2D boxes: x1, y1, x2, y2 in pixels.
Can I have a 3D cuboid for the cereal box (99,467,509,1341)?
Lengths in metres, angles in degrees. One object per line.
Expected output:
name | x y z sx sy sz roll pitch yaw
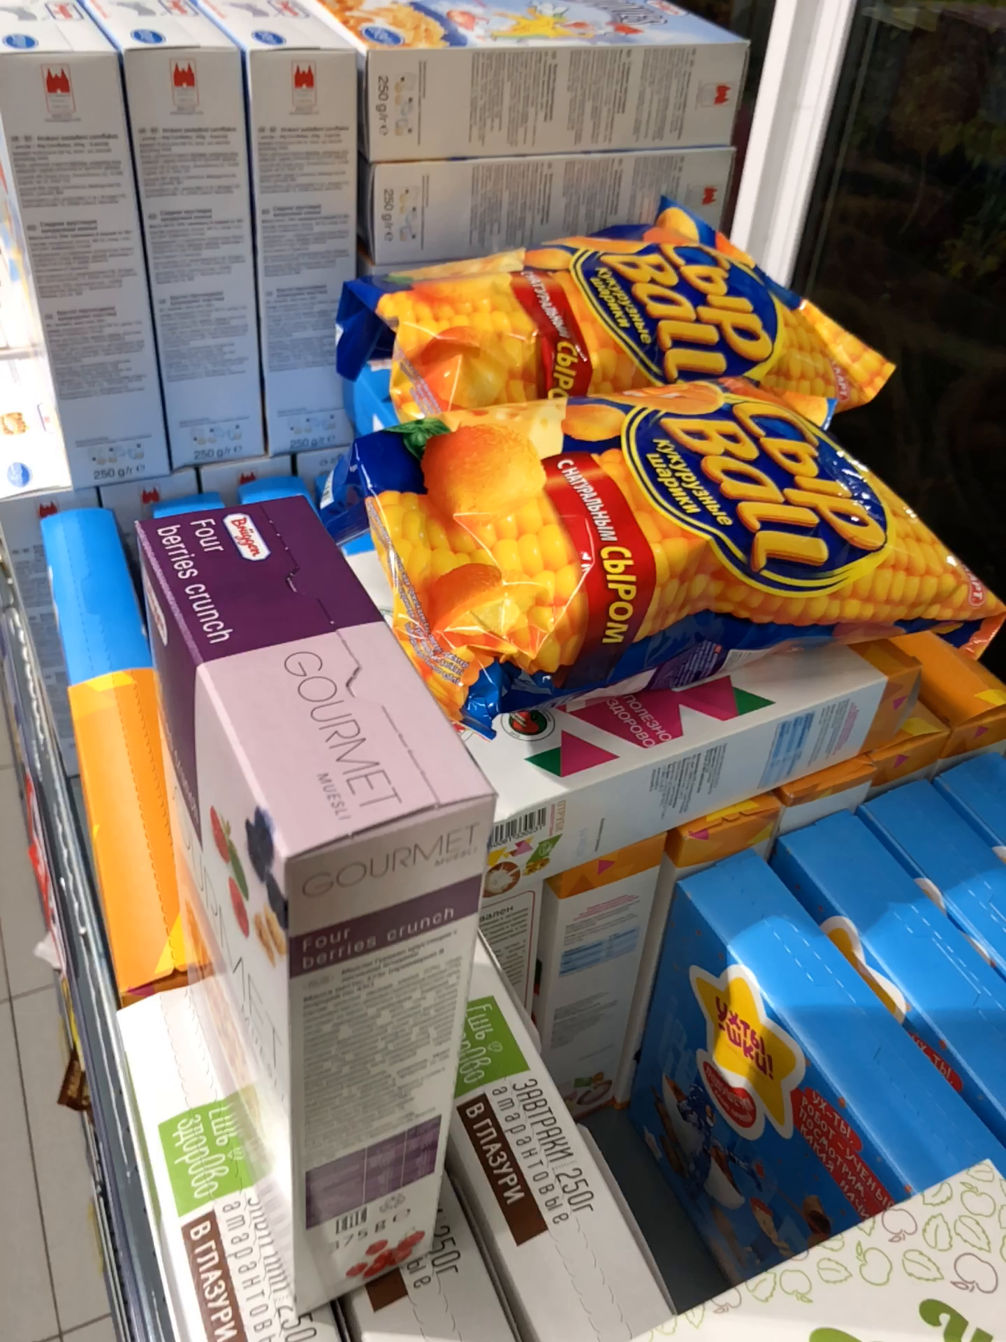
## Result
cereal box | -0.065 0.075 0.324 0.050 0.219 0.141 -13 43 -25
